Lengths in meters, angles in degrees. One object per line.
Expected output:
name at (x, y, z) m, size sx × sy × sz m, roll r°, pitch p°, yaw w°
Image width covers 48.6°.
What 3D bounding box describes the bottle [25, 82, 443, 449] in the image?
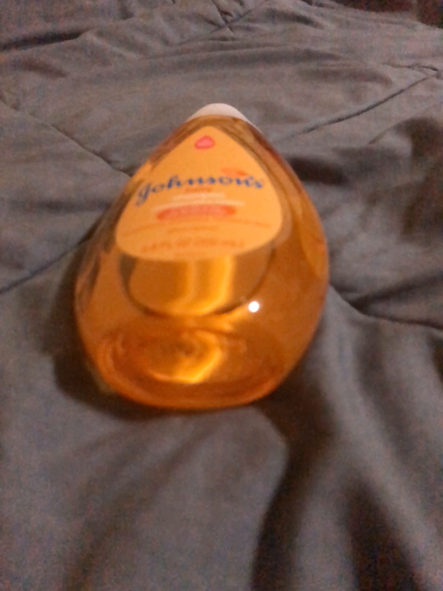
bottle at (0.009, -0.030, 0.172) m, size 0.083 × 0.040 × 0.160 m, roll 1°, pitch 39°, yaw 6°
